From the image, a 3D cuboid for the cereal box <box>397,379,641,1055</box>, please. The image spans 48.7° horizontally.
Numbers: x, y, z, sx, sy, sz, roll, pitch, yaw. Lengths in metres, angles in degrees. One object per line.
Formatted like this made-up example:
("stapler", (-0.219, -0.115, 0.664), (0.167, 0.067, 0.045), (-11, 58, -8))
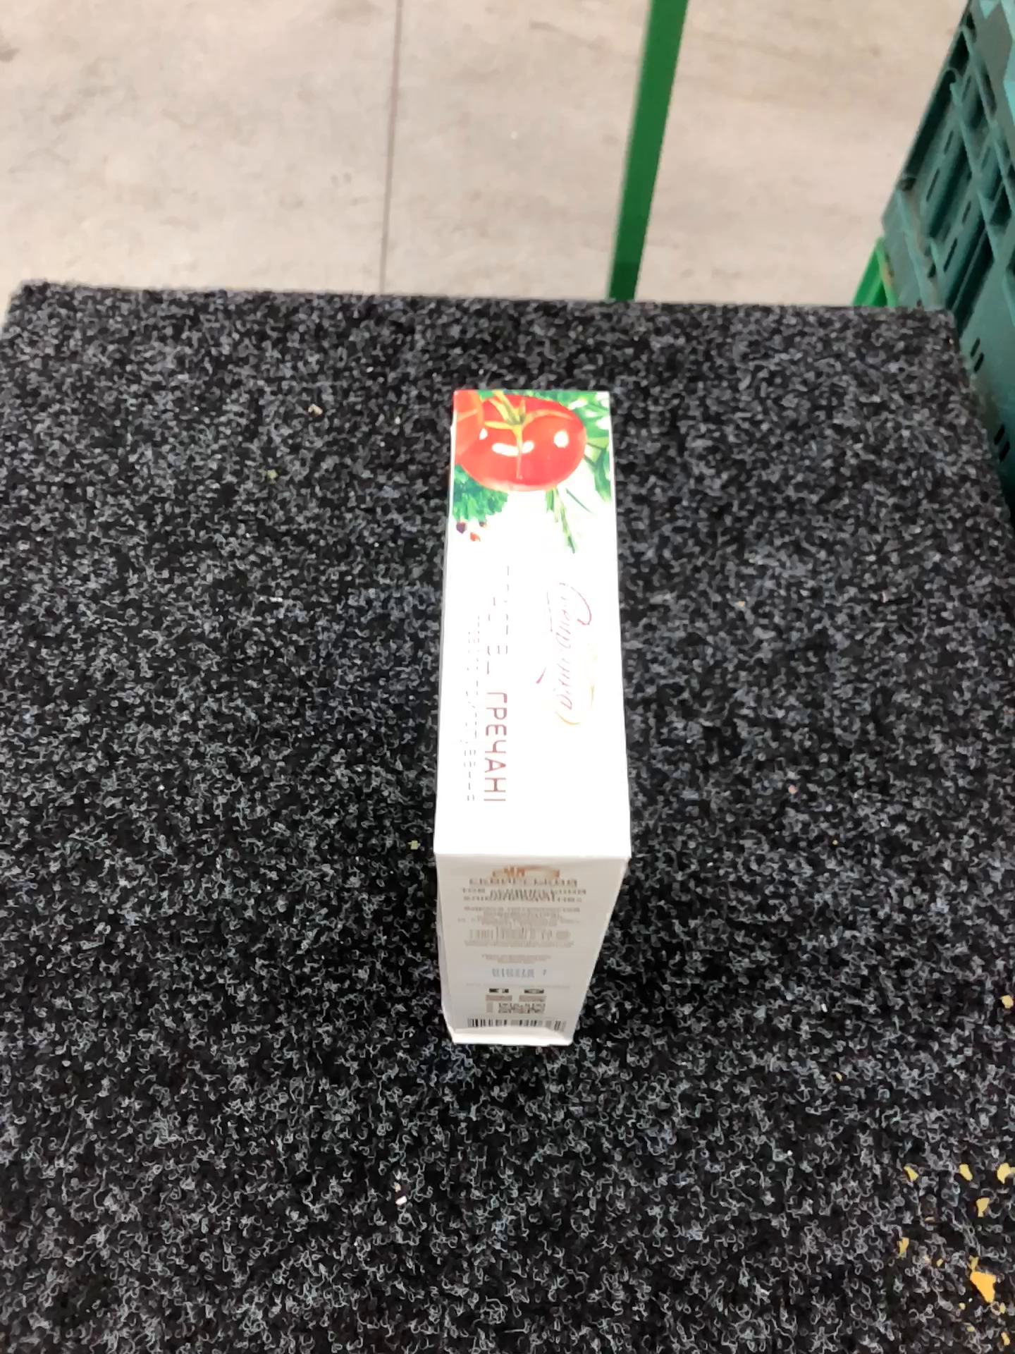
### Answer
("cereal box", (0.001, 0.035, 0.420), (0.060, 0.239, 0.161), (1, 61, -1))
